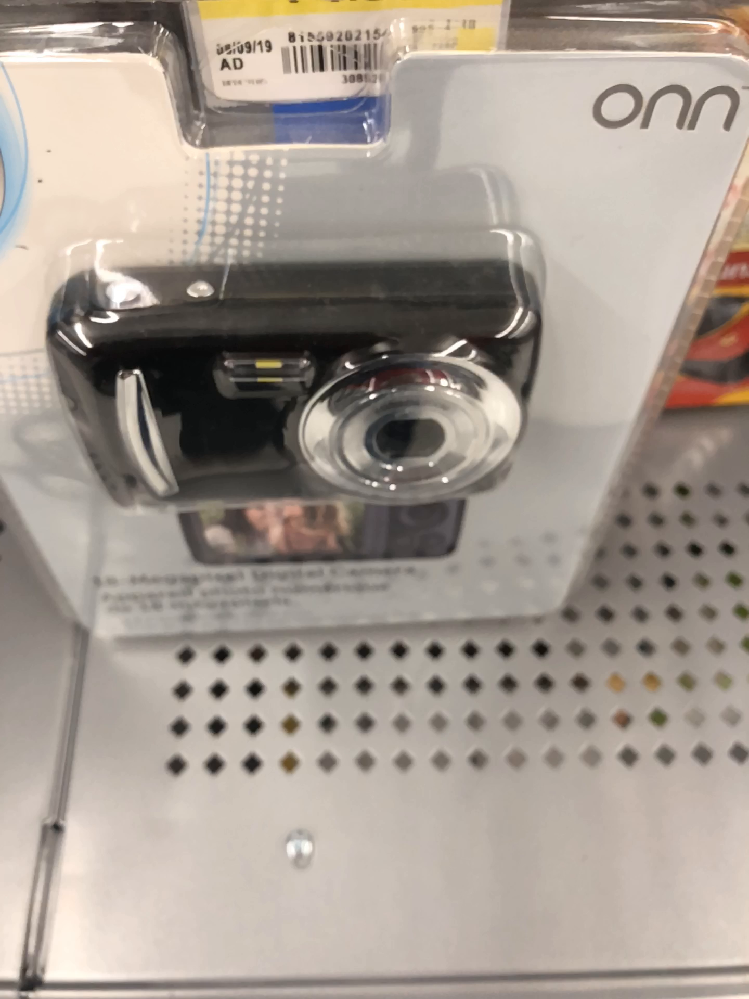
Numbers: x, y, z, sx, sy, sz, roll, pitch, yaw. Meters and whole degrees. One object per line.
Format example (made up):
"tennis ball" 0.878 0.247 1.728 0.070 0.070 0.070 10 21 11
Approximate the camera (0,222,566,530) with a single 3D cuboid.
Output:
"camera" -0.018 -0.023 0.181 0.100 0.060 0.030 -1 57 -1
